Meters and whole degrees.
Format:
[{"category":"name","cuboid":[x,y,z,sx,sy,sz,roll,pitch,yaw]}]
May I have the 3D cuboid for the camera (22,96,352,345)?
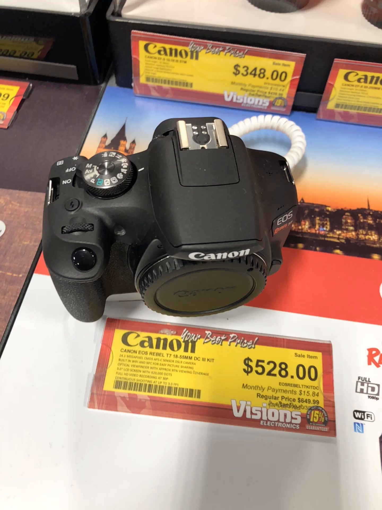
[{"category":"camera","cuboid":[-0.006,-0.016,0.225,0.130,0.090,0.080,-6,58,-6]}]
